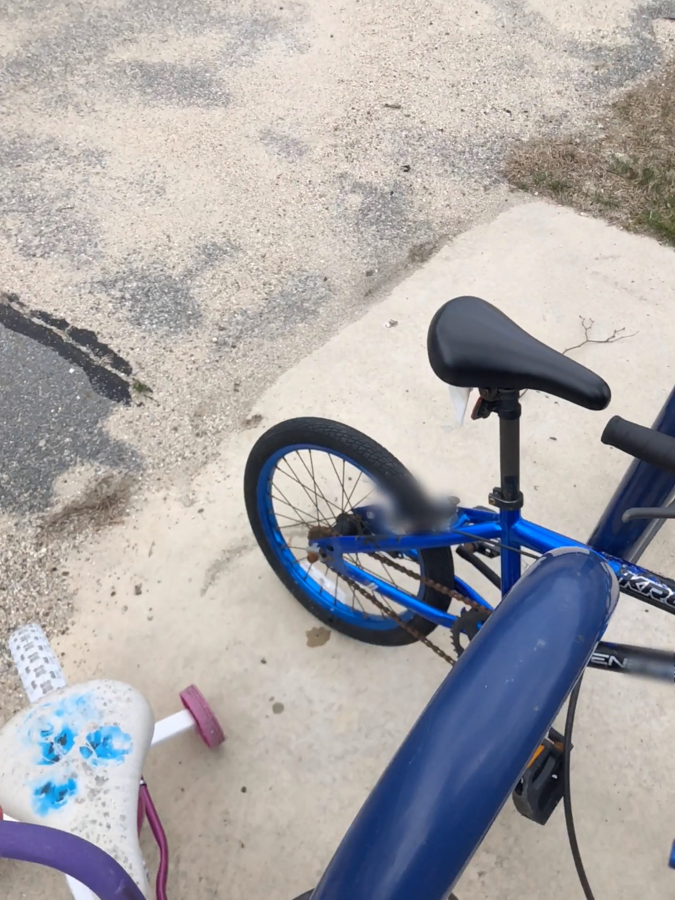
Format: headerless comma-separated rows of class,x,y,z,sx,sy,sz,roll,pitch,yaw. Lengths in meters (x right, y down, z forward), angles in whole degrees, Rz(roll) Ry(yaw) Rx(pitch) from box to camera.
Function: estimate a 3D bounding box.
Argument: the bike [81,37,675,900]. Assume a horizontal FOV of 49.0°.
bike,0.242,0.149,0.987,0.623,0.841,1.031,-31,56,-26
